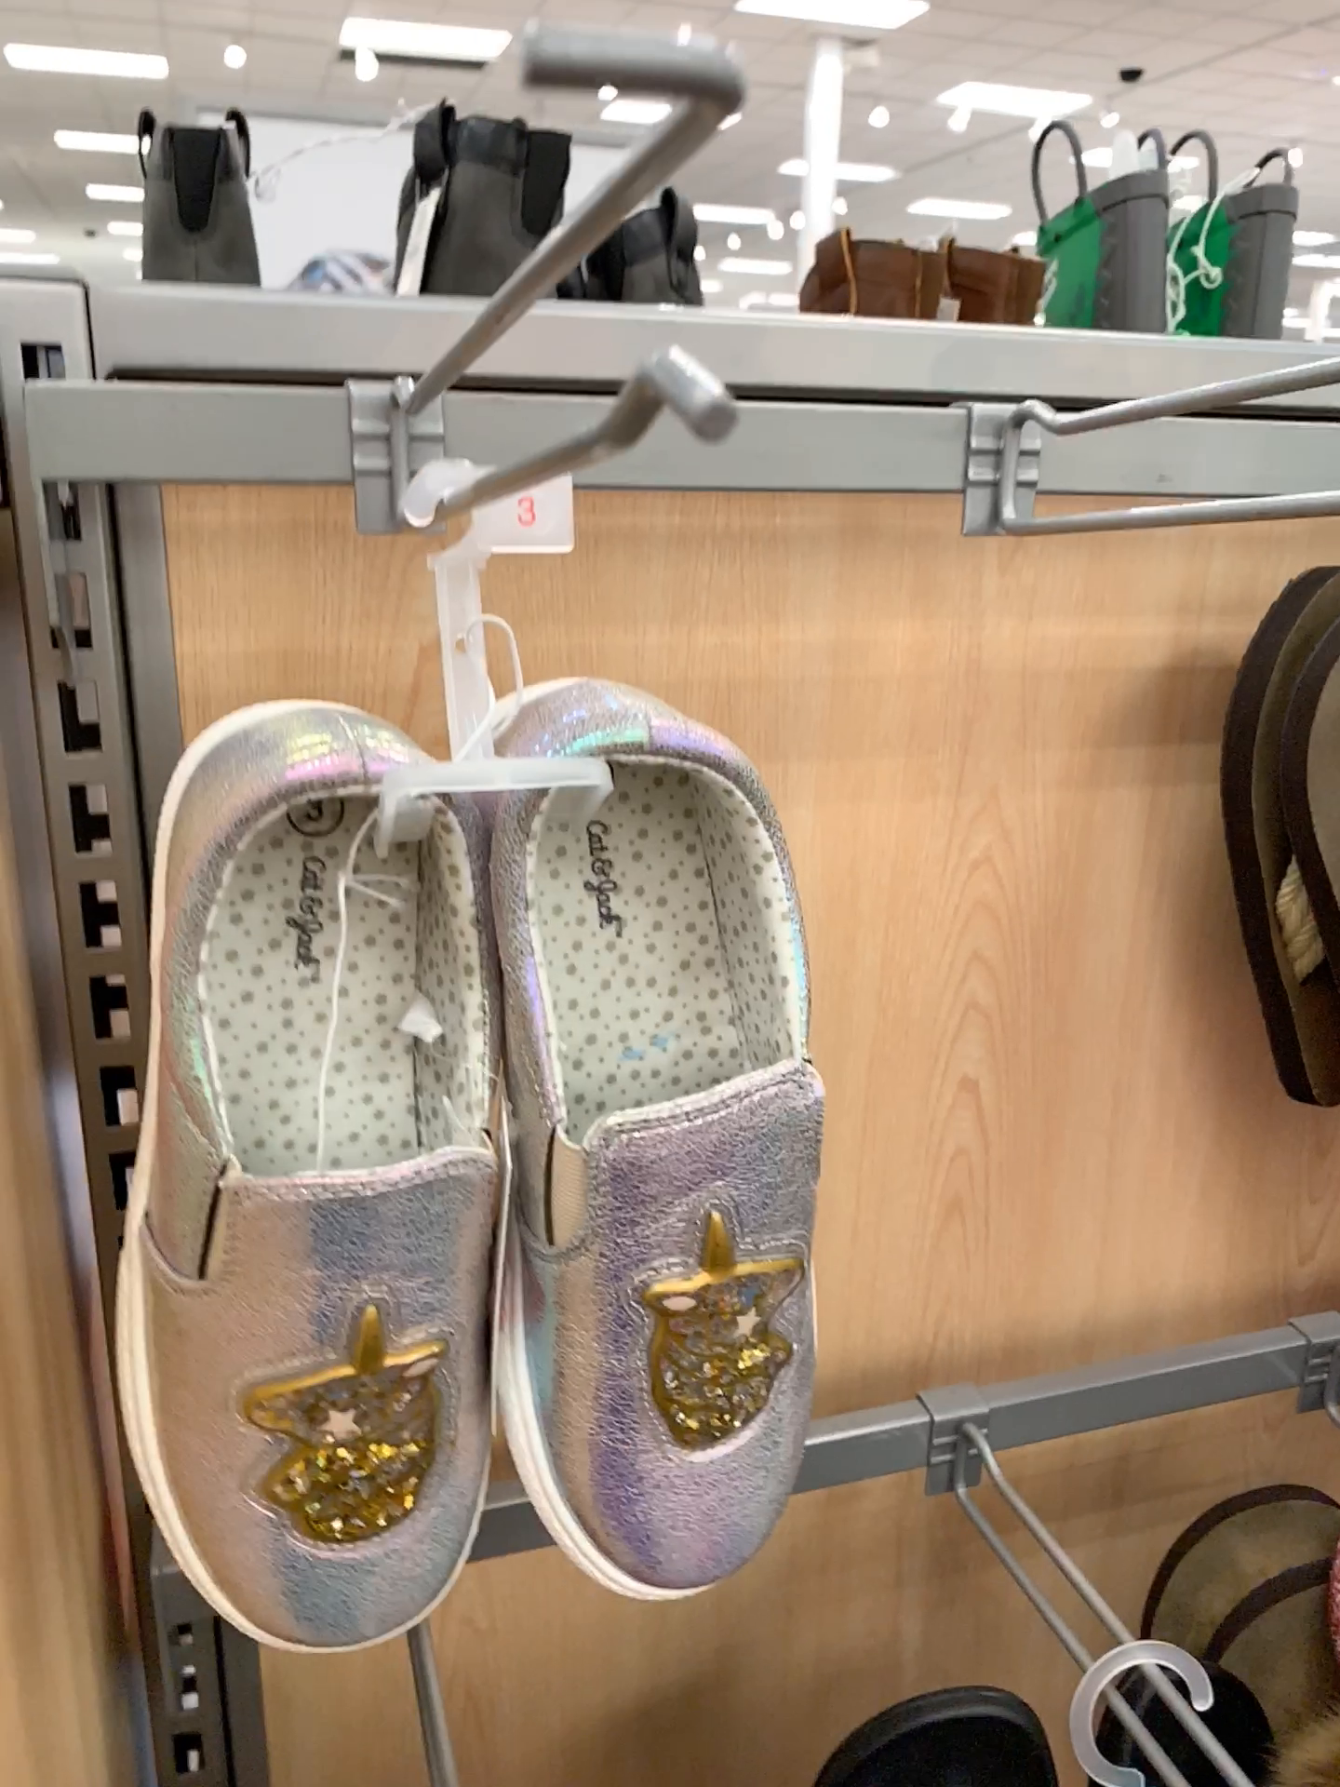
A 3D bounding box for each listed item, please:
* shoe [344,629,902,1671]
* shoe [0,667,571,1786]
[{"bbox_3d":[-0.018,0.050,0.354,0.100,0.221,0.113,-5,15,-20],"label":"shoe"},{"bbox_3d":[-0.090,0.064,0.329,0.100,0.221,0.113,-5,15,-20],"label":"shoe"}]
